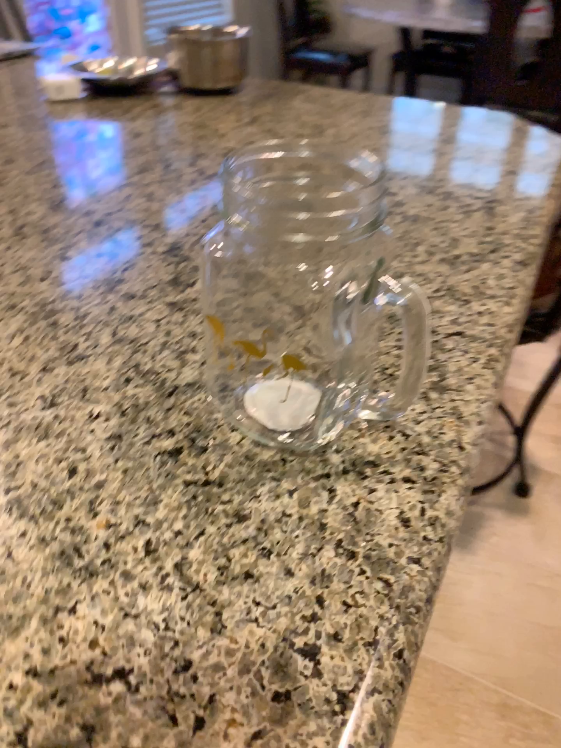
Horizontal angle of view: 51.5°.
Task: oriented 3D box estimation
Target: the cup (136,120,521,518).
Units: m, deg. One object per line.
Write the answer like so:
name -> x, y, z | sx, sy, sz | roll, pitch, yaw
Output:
cup -> 0.018, -0.029, 0.252 | 0.120, 0.119, 0.081 | 20, 41, 22
